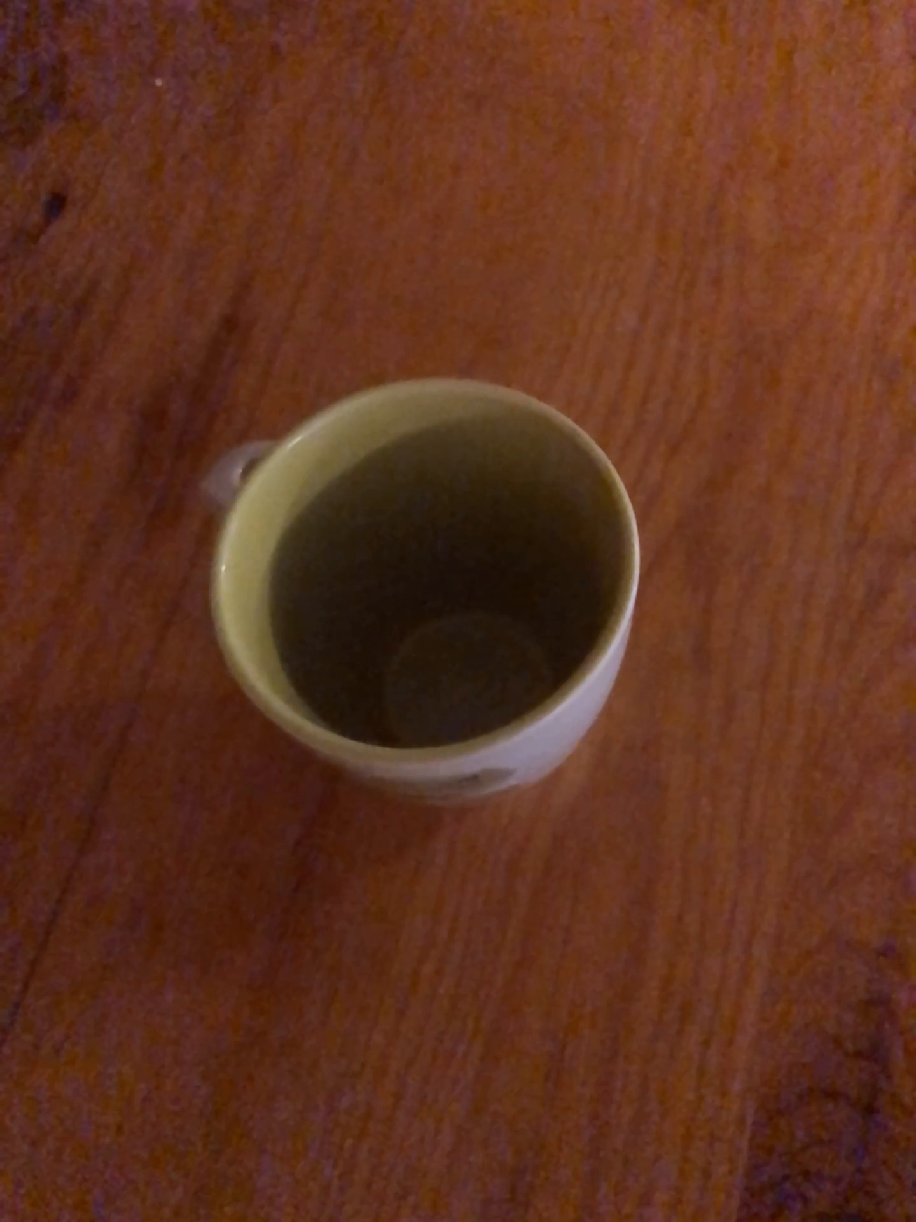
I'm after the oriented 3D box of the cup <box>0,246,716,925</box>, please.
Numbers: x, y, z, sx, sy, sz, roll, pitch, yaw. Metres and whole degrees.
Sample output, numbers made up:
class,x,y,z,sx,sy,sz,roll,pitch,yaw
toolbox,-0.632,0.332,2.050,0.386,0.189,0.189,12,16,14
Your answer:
class,x,y,z,sx,sy,sz,roll,pitch,yaw
cup,-0.019,-0.002,0.262,0.120,0.100,0.098,30,73,16
